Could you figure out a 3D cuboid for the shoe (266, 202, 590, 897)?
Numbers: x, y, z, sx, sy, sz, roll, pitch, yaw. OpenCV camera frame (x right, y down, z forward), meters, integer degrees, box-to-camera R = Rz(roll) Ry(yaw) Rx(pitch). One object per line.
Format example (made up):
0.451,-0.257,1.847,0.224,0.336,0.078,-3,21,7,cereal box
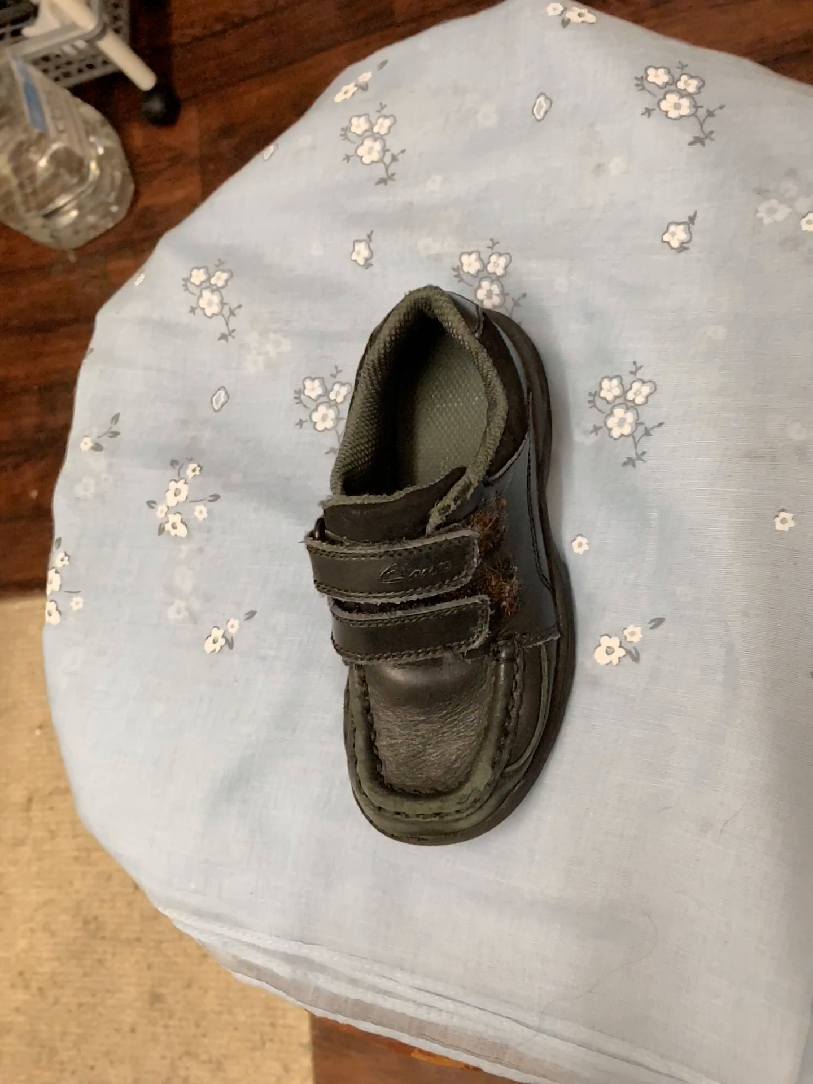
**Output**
0.013,0.001,0.276,0.079,0.073,0.190,1,84,20,shoe
